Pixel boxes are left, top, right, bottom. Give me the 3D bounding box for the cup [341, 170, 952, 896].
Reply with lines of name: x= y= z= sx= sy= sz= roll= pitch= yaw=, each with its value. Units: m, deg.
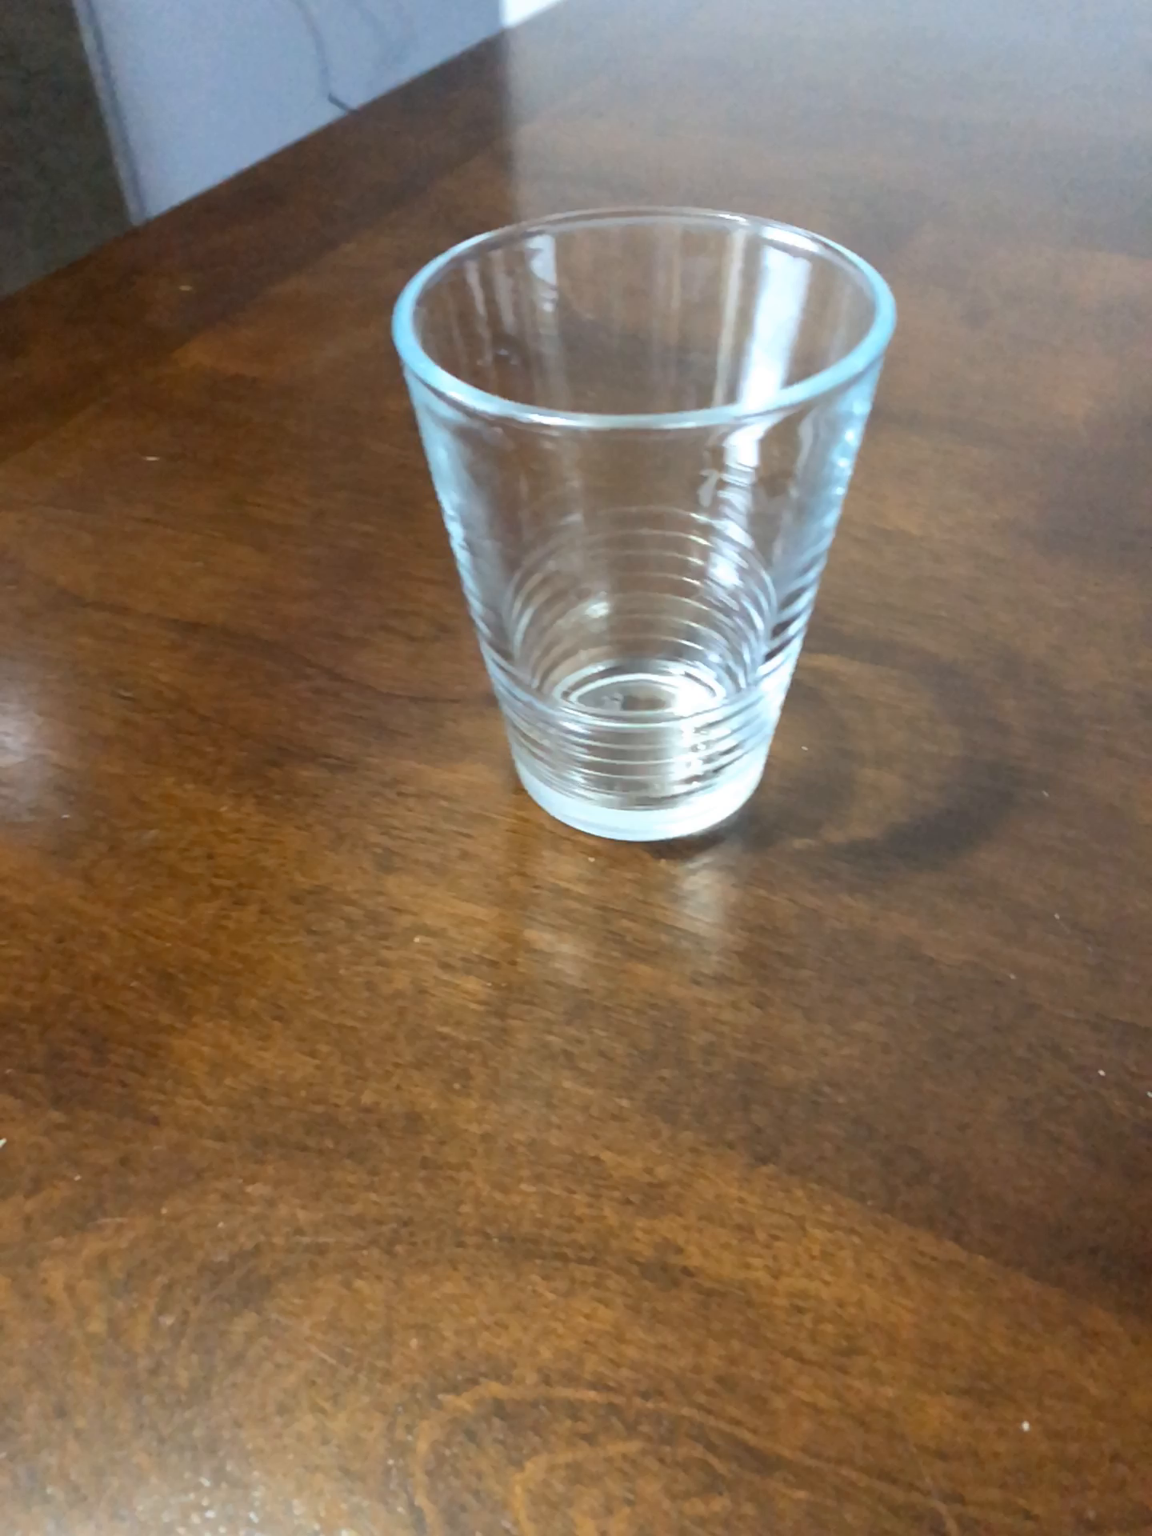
cup: x=0.009 y=-0.044 z=0.241 sx=0.080 sy=0.100 sz=0.070 roll=-13 pitch=44 yaw=-11
